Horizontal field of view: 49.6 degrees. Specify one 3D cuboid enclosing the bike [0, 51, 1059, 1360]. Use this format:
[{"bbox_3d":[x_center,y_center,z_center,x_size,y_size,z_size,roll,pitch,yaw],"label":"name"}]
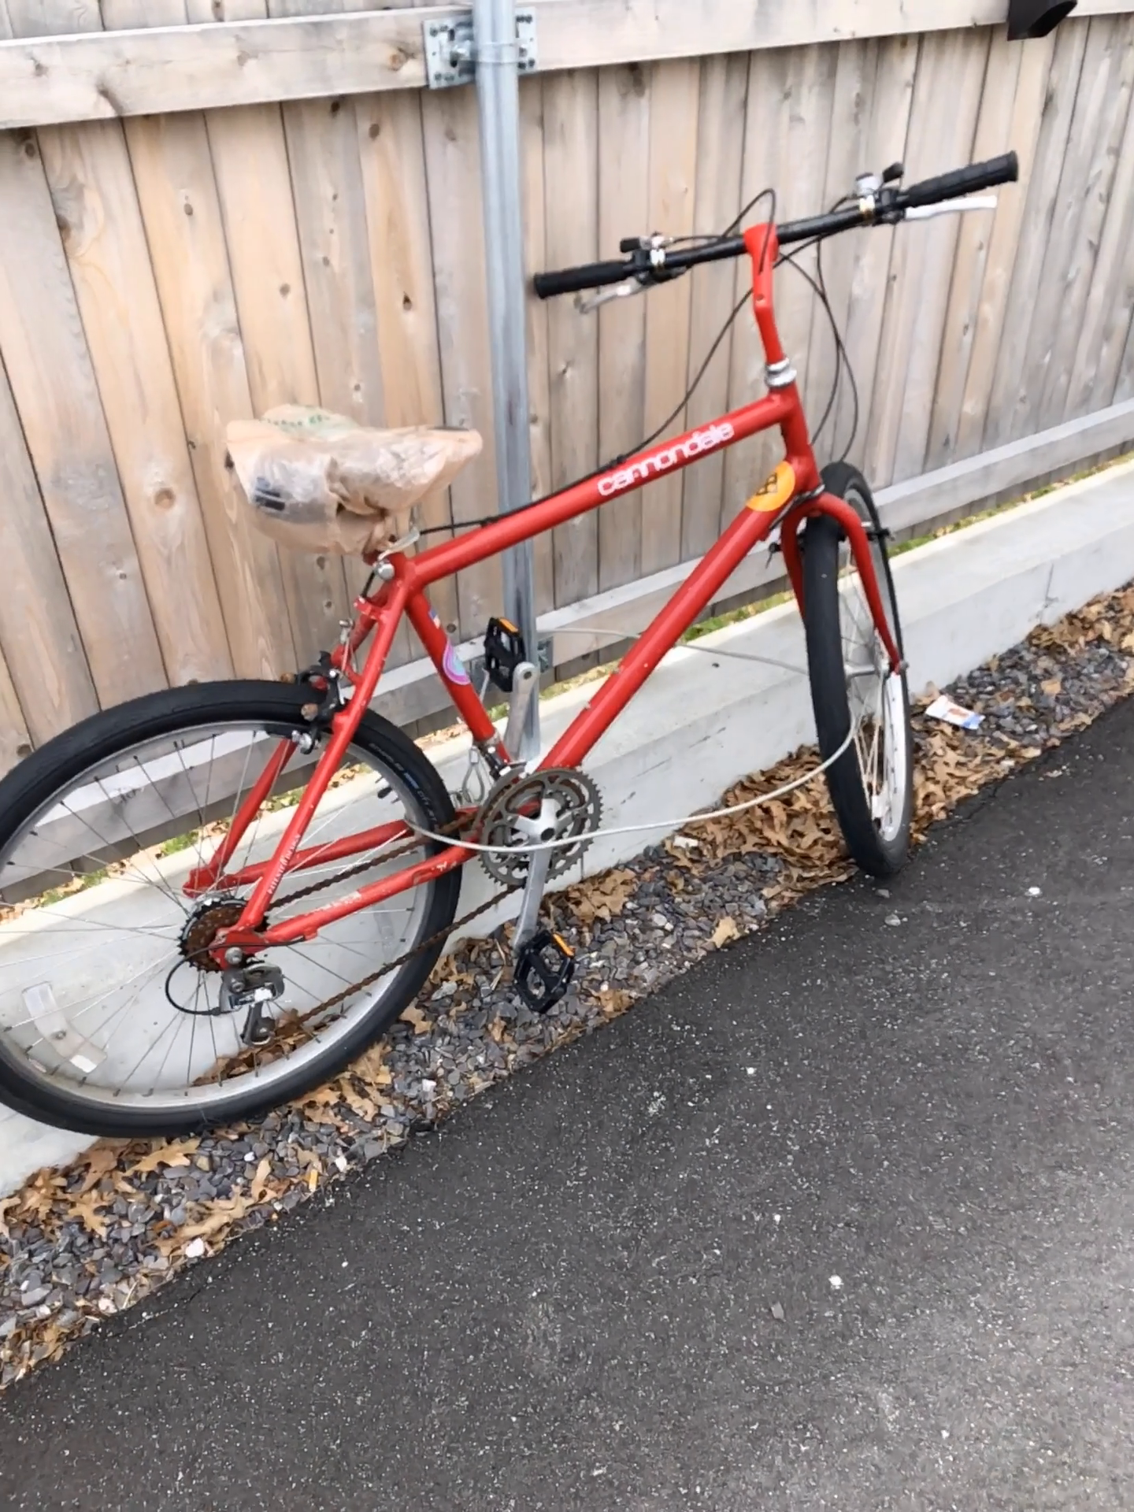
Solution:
[{"bbox_3d":[-0.114,-0.226,1.611,1.480,1.001,0.594,-26,40,-28],"label":"bike"}]
